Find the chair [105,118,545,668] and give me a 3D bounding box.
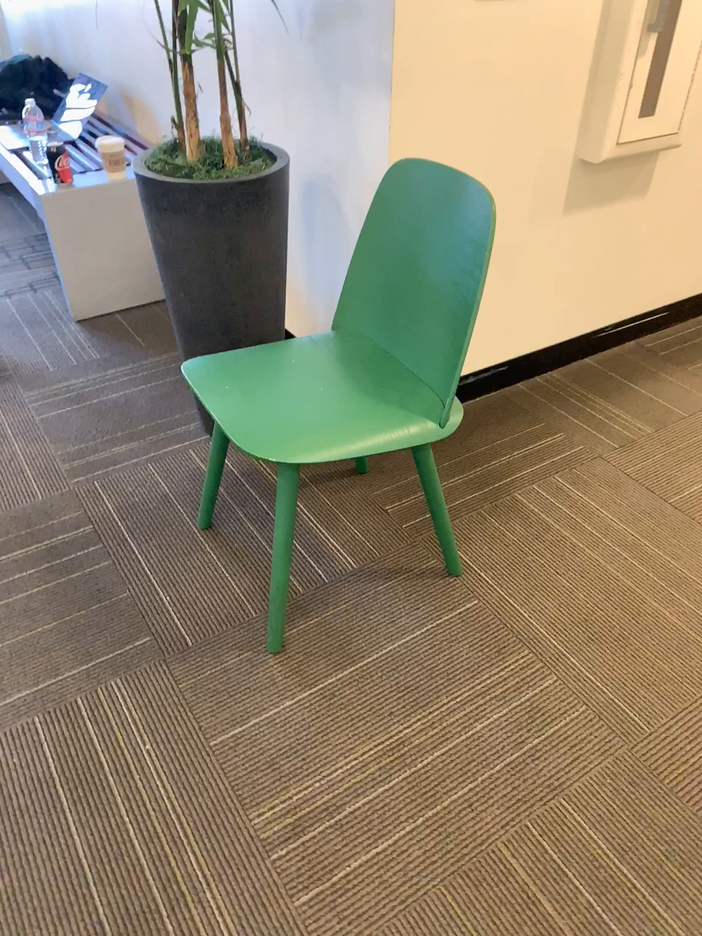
[{"bbox_3d":[-0.066,-0.155,1.347,0.500,0.785,0.503,-20,42,-25],"label":"chair"}]
